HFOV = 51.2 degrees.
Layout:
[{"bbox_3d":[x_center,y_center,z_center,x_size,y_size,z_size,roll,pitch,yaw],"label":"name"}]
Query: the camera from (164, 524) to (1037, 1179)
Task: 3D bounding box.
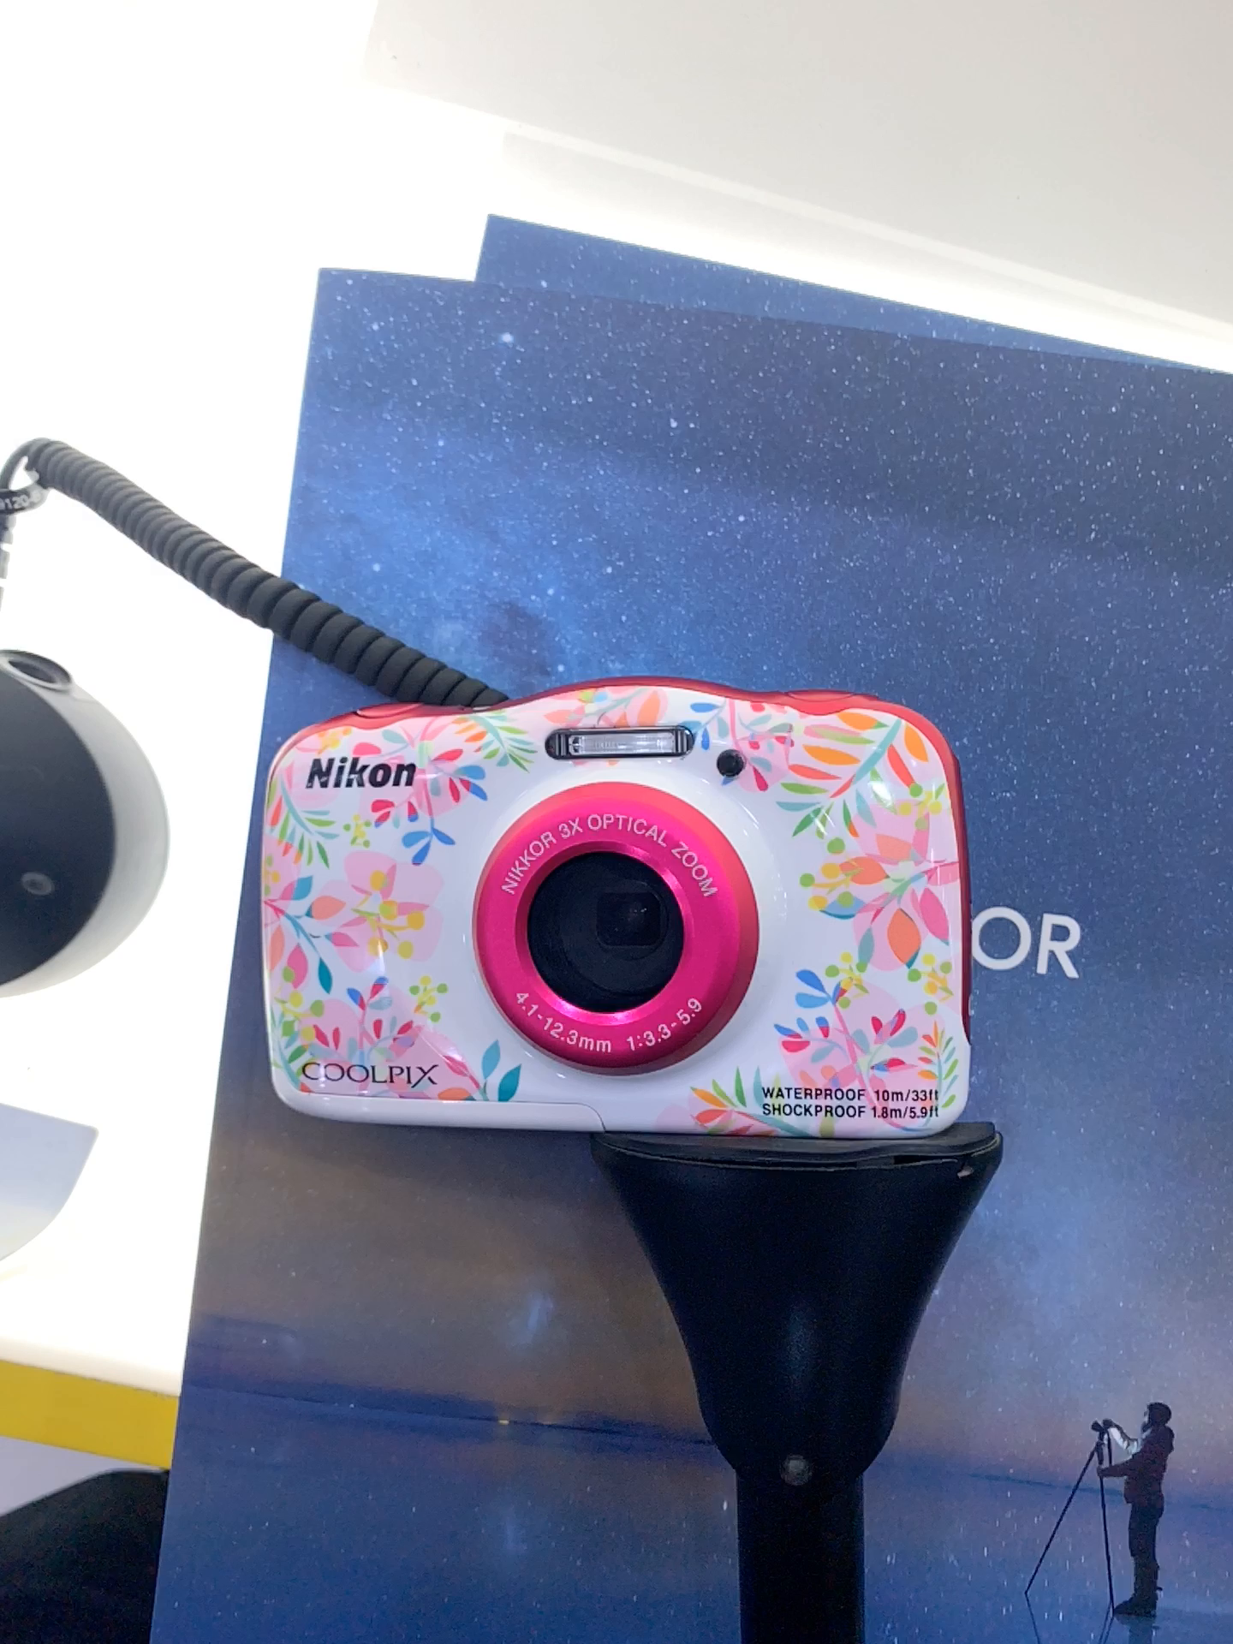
[{"bbox_3d":[-0.004,0.005,0.188,0.110,0.040,0.080,-3,82,1],"label":"camera"}]
